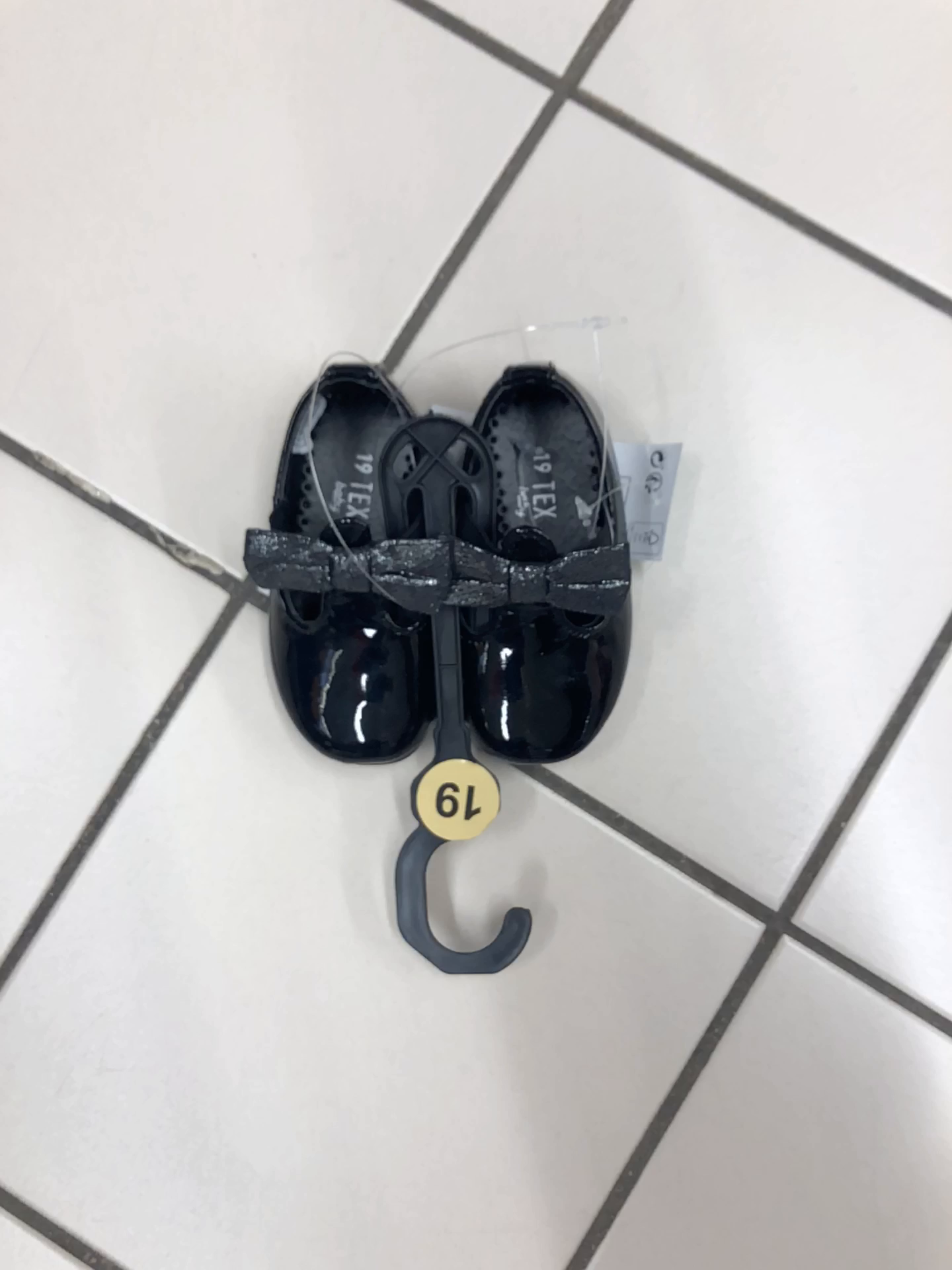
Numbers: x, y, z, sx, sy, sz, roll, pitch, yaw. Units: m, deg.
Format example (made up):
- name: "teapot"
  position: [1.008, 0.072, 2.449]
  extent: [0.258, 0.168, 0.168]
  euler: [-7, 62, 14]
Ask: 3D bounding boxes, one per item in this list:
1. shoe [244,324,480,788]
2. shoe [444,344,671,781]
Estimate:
- name: "shoe"
  position: [-0.031, -0.020, 0.311]
  extent: [0.061, 0.053, 0.125]
  euler: [-1, 85, 1]
- name: "shoe"
  position: [0.023, -0.020, 0.316]
  extent: [0.061, 0.037, 0.123]
  euler: [-1, 85, 1]
